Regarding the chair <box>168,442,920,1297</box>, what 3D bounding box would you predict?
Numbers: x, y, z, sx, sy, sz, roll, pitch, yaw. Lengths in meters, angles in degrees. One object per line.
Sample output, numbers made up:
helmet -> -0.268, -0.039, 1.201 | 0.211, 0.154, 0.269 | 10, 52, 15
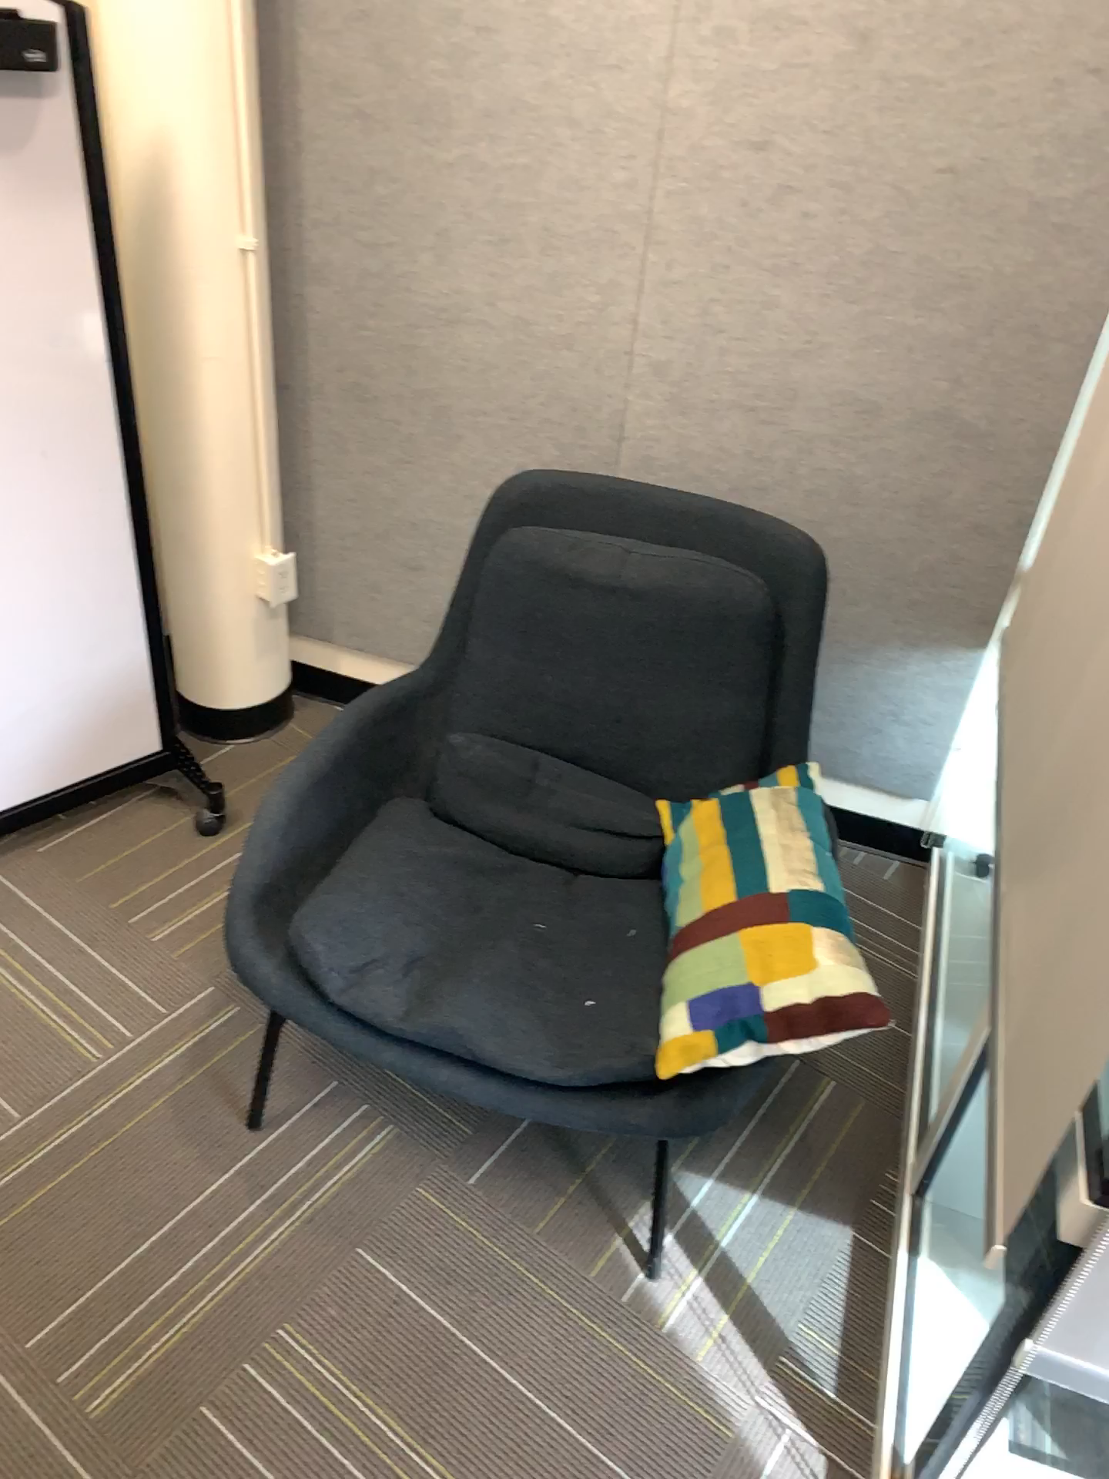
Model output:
chair -> 0.034, 0.123, 1.946 | 0.791, 0.816, 1.004 | 19, 37, 17
